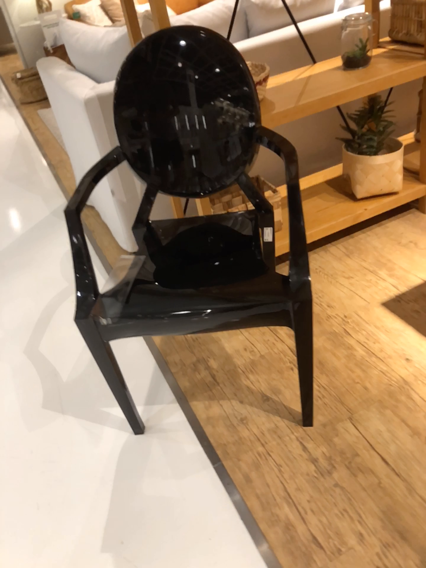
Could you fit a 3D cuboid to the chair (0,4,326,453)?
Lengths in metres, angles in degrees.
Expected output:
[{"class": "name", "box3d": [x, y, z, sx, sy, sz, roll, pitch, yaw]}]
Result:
[{"class": "chair", "box3d": [-0.053, -0.119, 1.211, 0.540, 0.902, 0.595, -8, 37, 4]}]
